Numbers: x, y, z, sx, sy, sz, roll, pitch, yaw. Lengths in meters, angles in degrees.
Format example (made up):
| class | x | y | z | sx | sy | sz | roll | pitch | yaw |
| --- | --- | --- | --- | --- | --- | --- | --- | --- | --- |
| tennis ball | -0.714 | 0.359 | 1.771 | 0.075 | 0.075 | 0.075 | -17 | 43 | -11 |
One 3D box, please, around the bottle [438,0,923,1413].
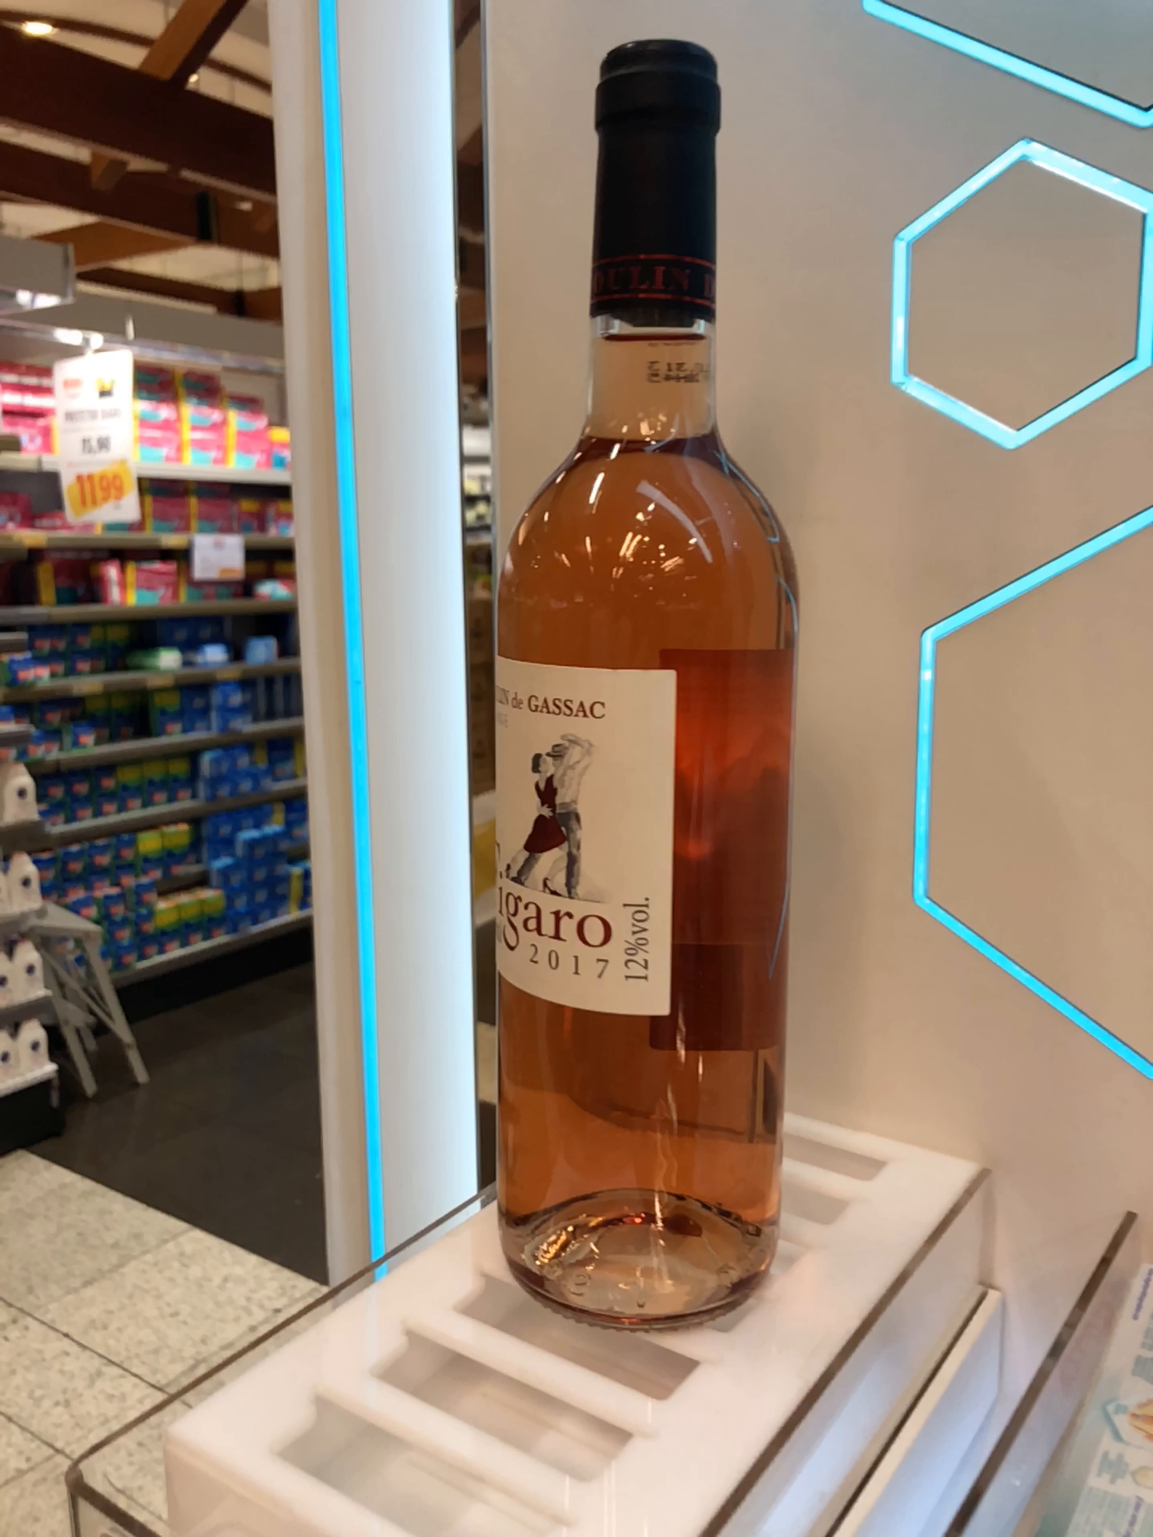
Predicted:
| class | x | y | z | sx | sy | sz | roll | pitch | yaw |
| --- | --- | --- | --- | --- | --- | --- | --- | --- | --- |
| bottle | 0.021 | -0.018 | 0.336 | 0.080 | 0.319 | 0.090 | -5 | 9 | -36 |
